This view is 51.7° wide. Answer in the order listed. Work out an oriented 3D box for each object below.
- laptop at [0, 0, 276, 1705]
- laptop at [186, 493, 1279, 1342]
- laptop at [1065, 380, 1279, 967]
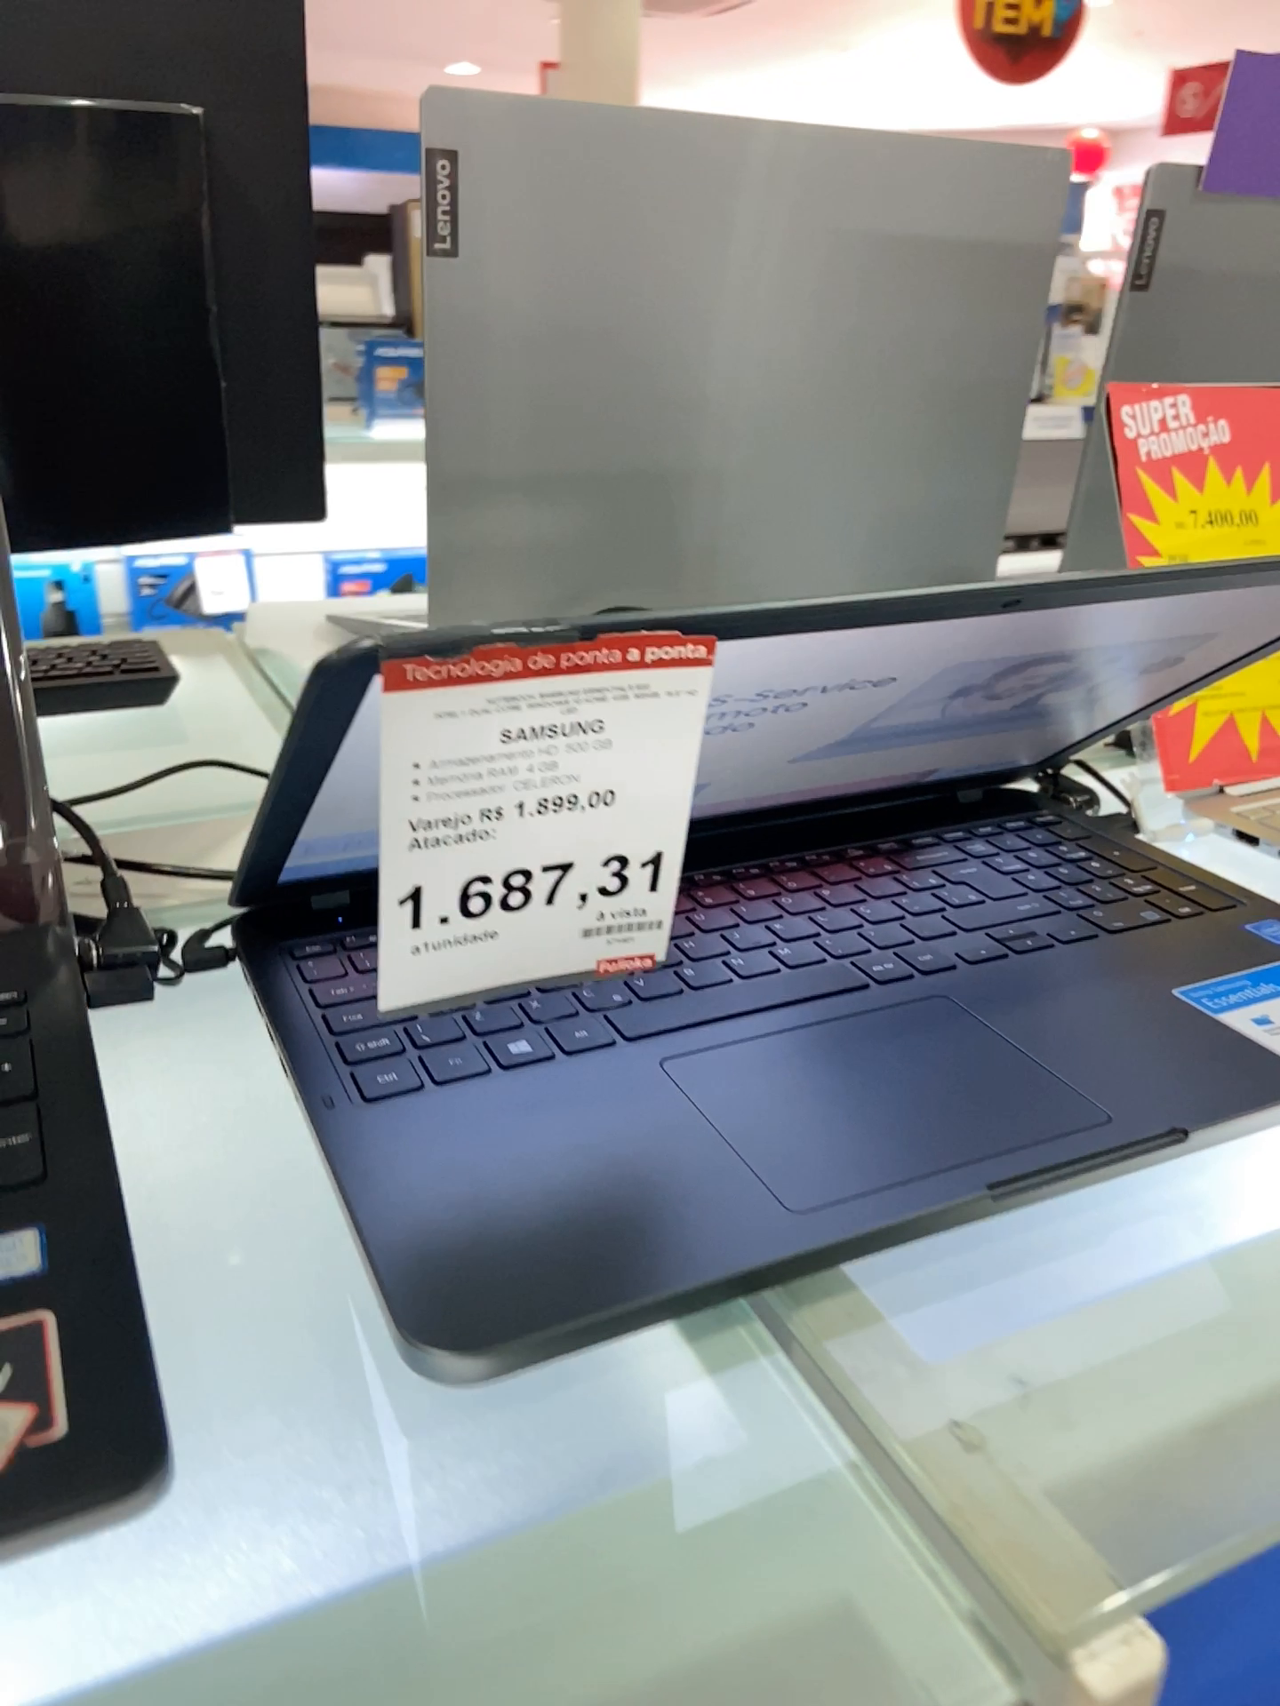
[{"bbox_3d":[-0.355,-0.031,0.280,0.394,0.223,0.372,-9,24,-28],"label":"laptop"},{"bbox_3d":[0.068,-0.028,0.431,0.367,0.140,0.236,-9,24,-25],"label":"laptop"},{"bbox_3d":[0.428,-0.122,0.625,0.316,0.177,0.297,-9,24,-25],"label":"laptop"}]
